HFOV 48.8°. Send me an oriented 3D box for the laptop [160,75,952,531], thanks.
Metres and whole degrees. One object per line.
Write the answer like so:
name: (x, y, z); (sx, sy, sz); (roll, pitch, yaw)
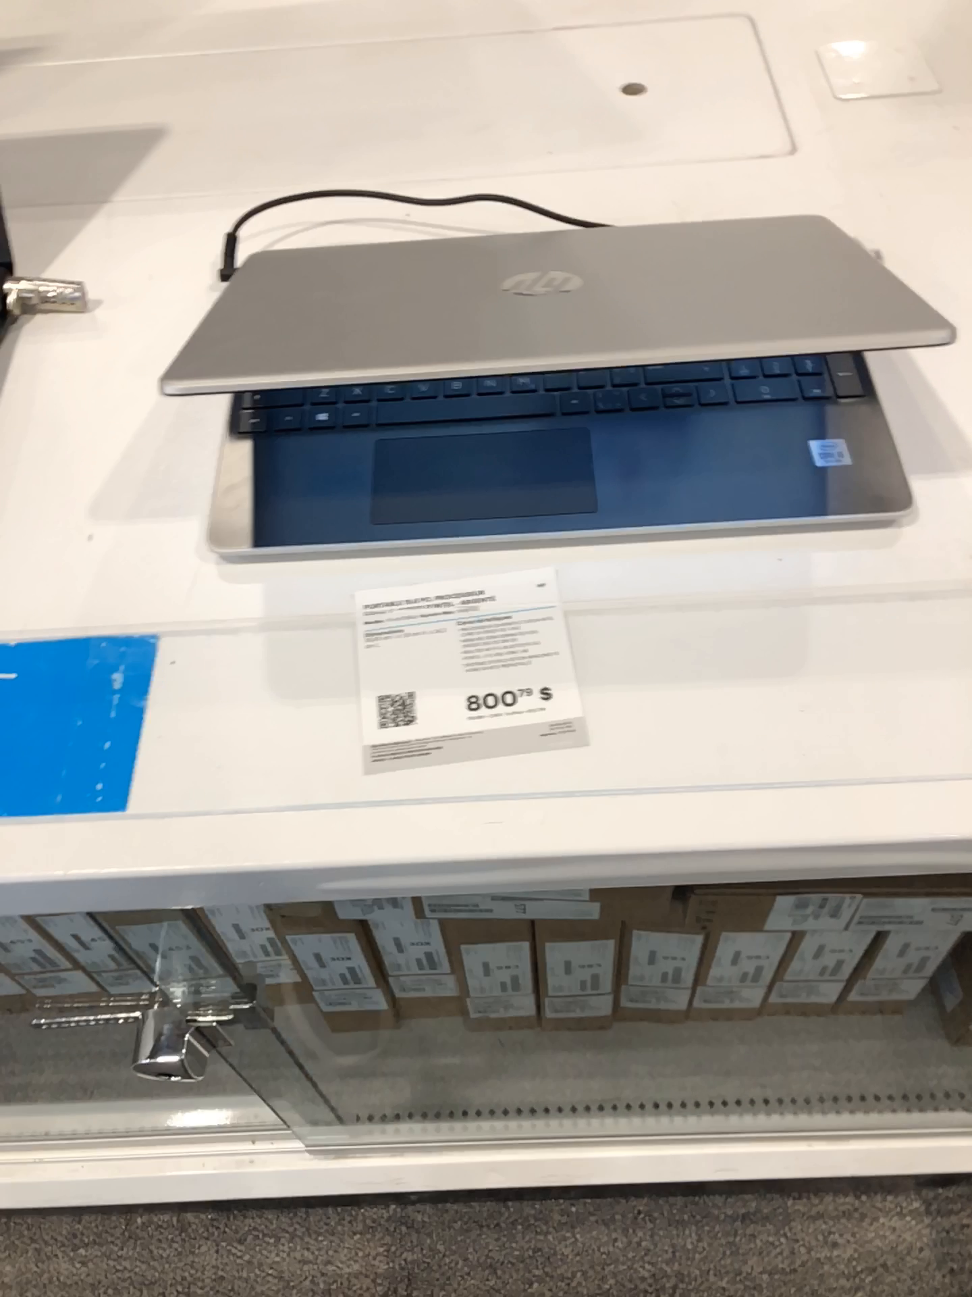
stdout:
laptop: (0.027, -0.186, 0.565); (0.341, 0.086, 0.229); (-3, 54, 4)
